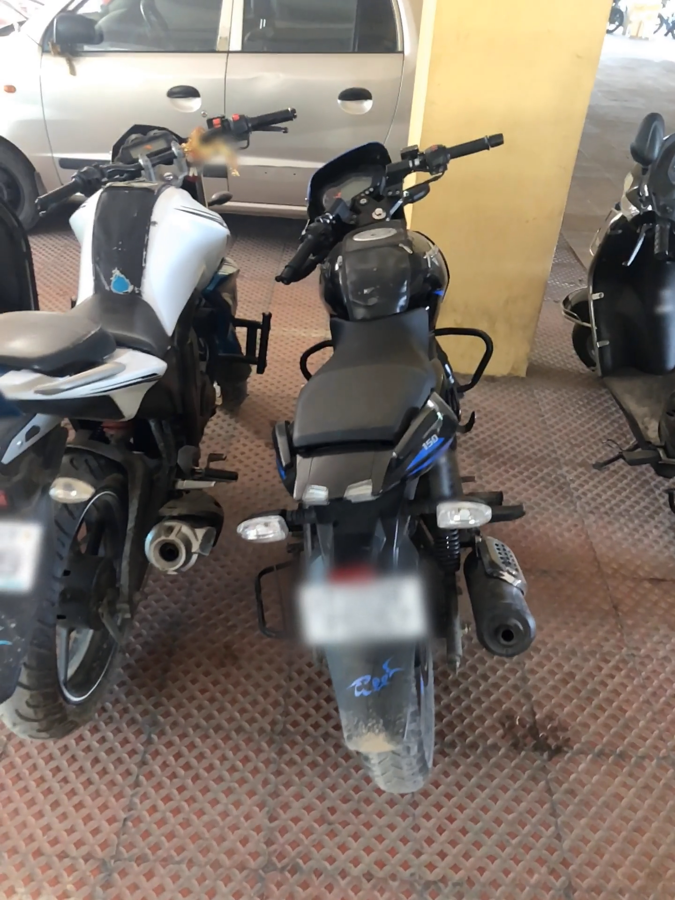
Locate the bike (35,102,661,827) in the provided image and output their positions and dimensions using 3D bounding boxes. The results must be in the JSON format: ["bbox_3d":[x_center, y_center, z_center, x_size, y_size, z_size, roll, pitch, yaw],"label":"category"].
[{"bbox_3d":[-0.050,-0.217,1.940,0.745,0.988,1.854,3,33,-3],"label":"bike"}]

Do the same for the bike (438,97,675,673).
[{"bbox_3d":[0.999,-0.367,2.470,0.713,1.221,1.722,-2,34,-10],"label":"bike"}]
